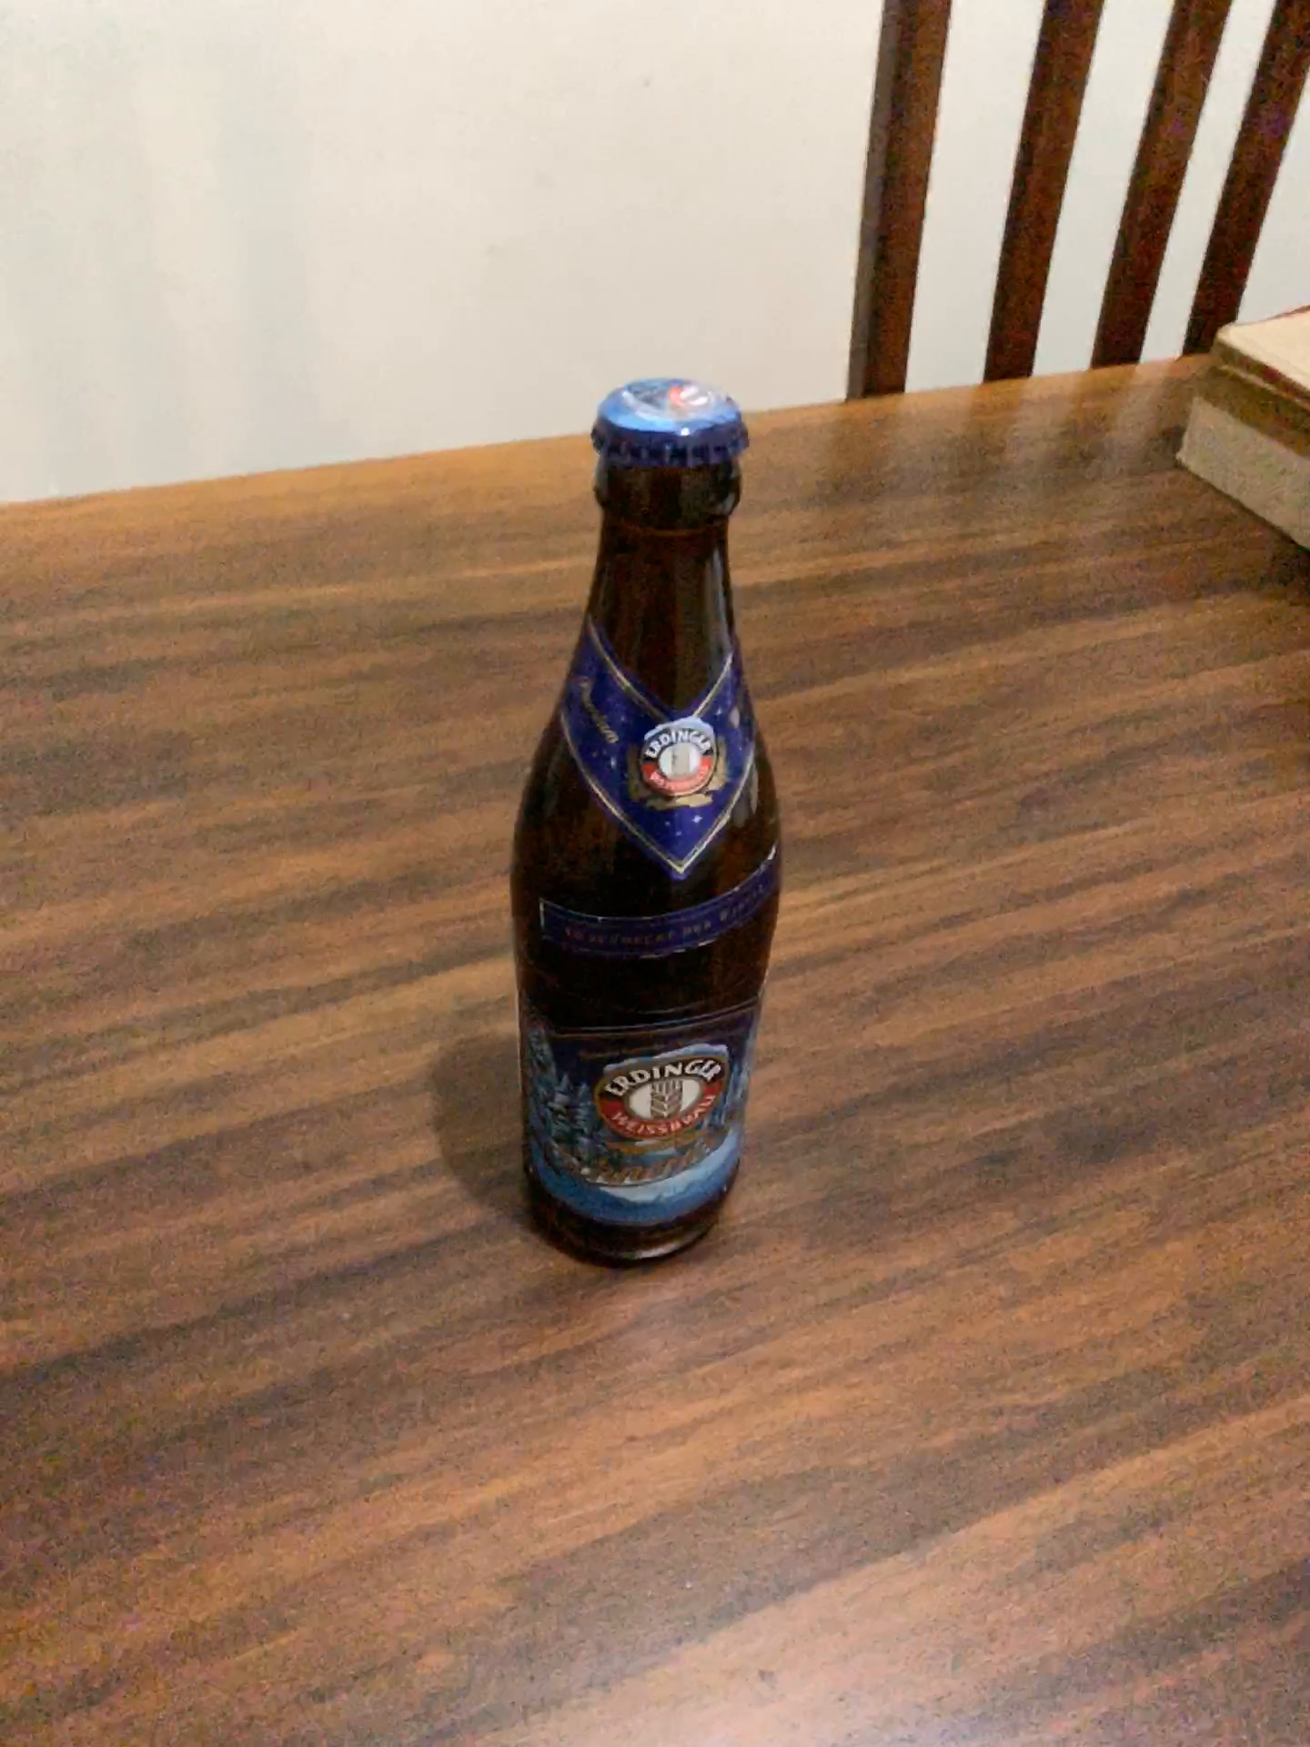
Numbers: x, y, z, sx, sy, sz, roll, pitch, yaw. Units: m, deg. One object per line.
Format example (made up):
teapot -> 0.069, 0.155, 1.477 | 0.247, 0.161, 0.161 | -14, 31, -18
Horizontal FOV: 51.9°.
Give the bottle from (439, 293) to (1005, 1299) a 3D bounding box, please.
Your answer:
bottle -> 0.003, 0.002, 0.326 | 0.080, 0.249, 0.070 | -12, 48, -15
